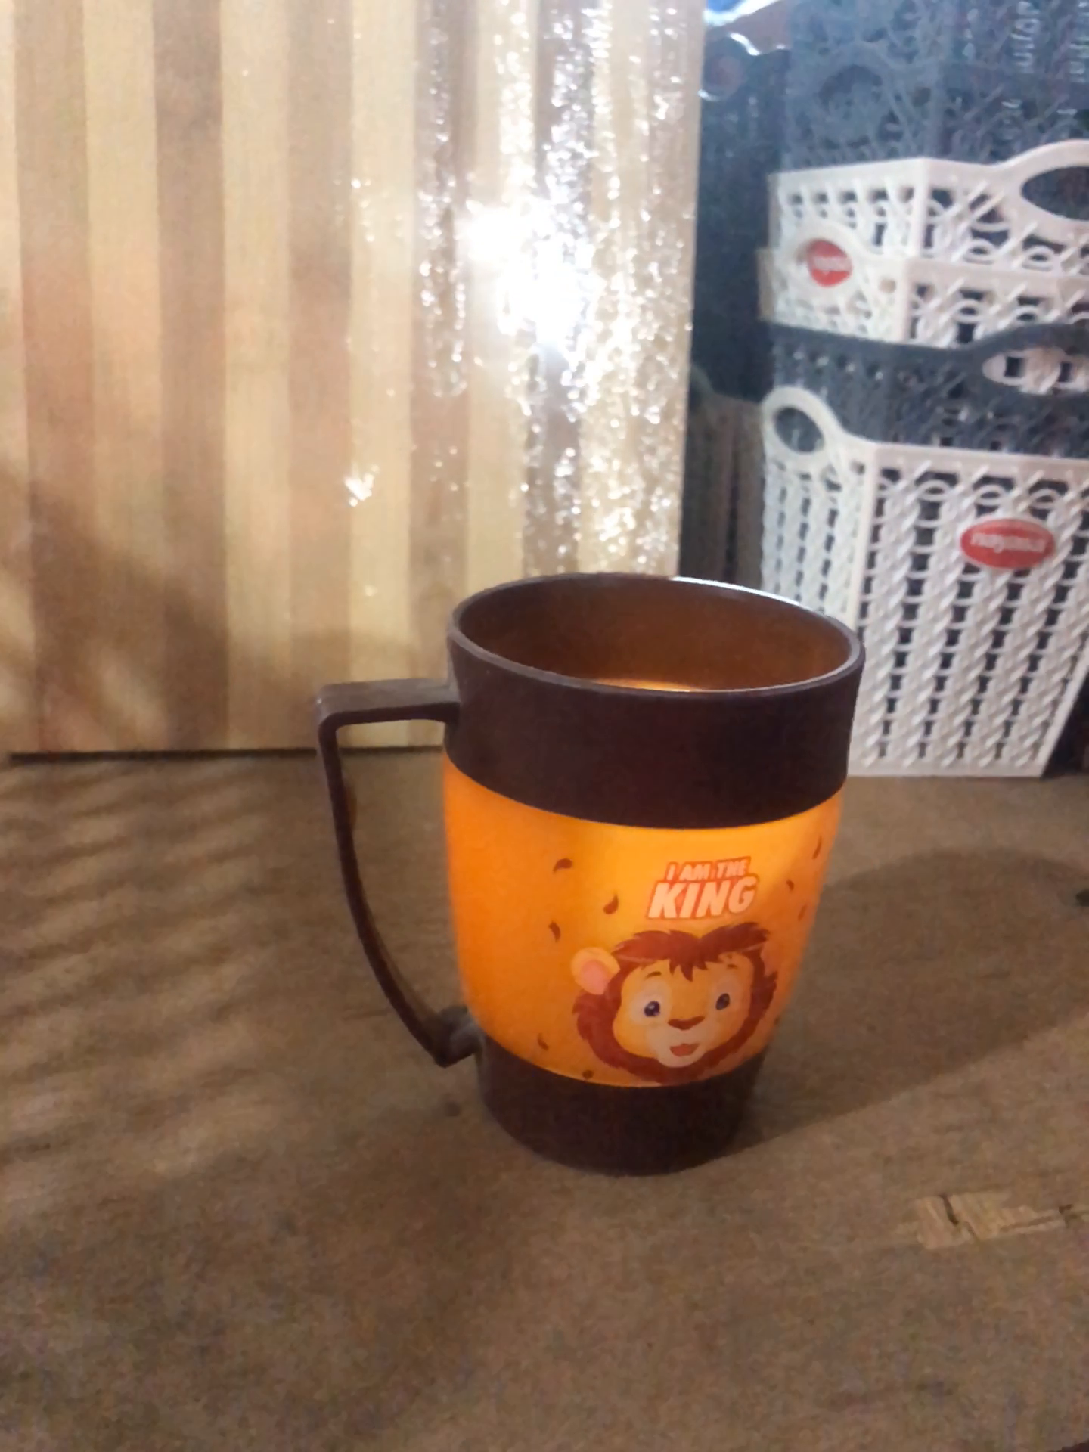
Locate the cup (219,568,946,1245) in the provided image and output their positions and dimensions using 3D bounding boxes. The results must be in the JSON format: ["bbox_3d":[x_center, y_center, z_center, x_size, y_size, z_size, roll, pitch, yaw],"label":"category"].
[{"bbox_3d":[0.000,0.025,0.207,0.100,0.090,0.060,-1,23,-12],"label":"cup"}]
